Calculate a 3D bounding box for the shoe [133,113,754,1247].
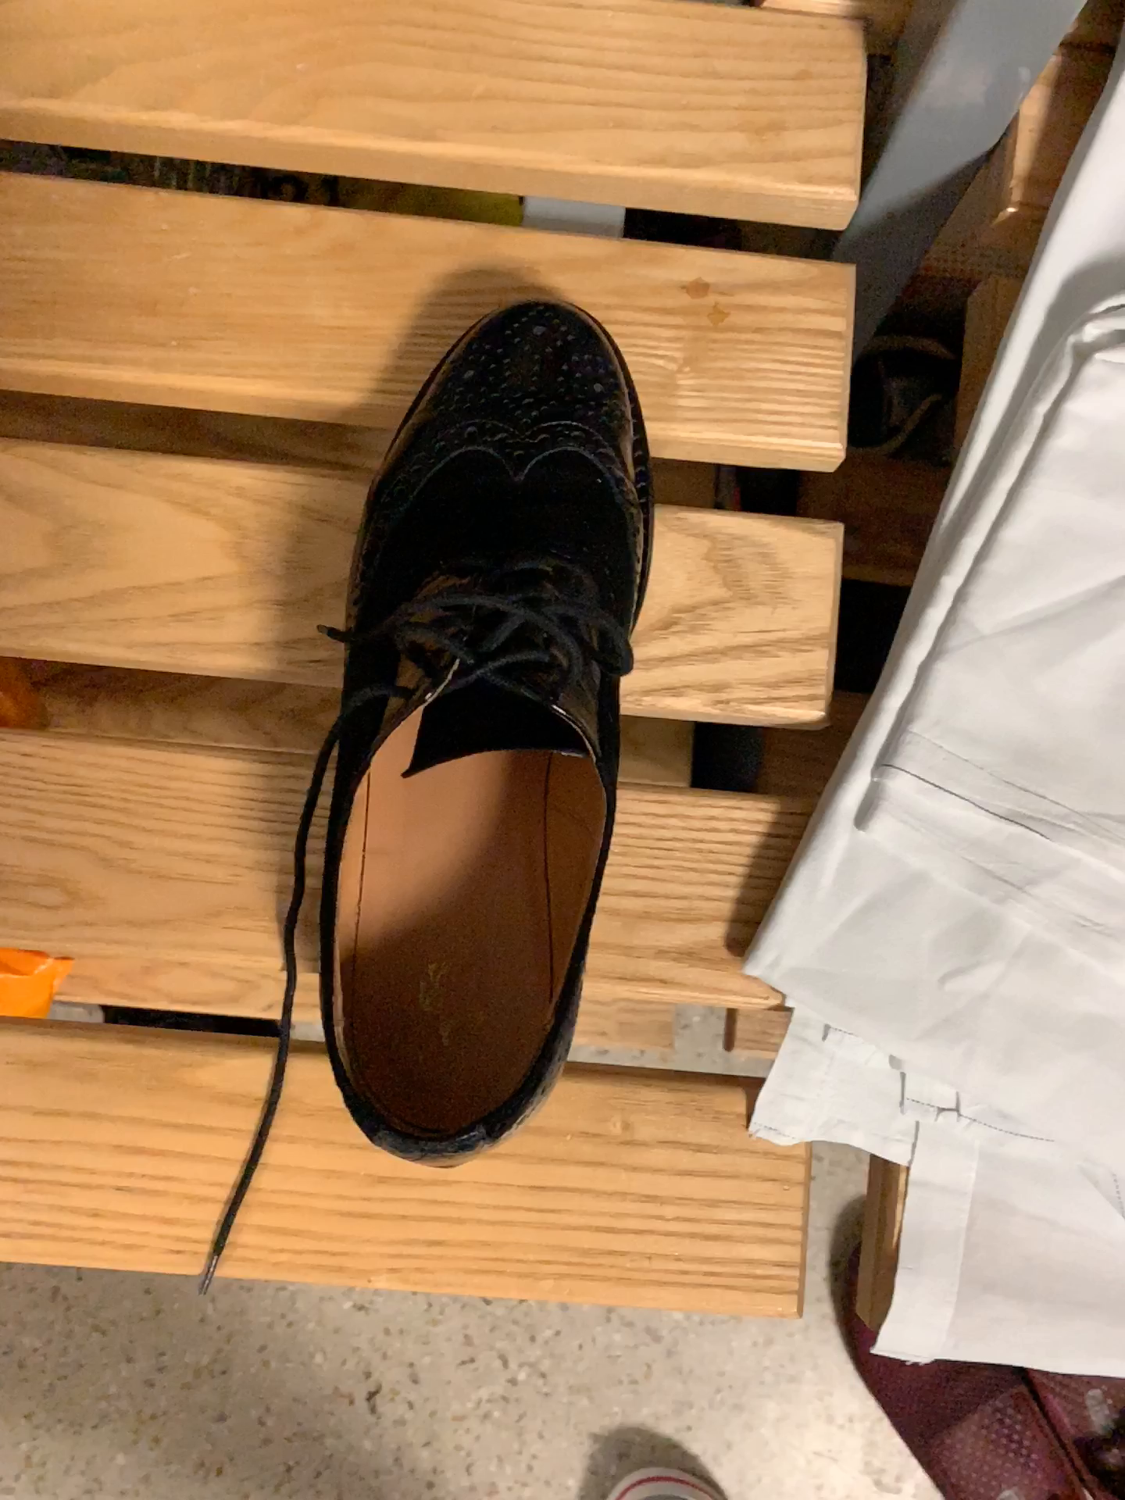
[{"bbox_3d":[-0.024,-0.018,0.312,0.099,0.095,0.250,10,82,-1],"label":"shoe"}]
